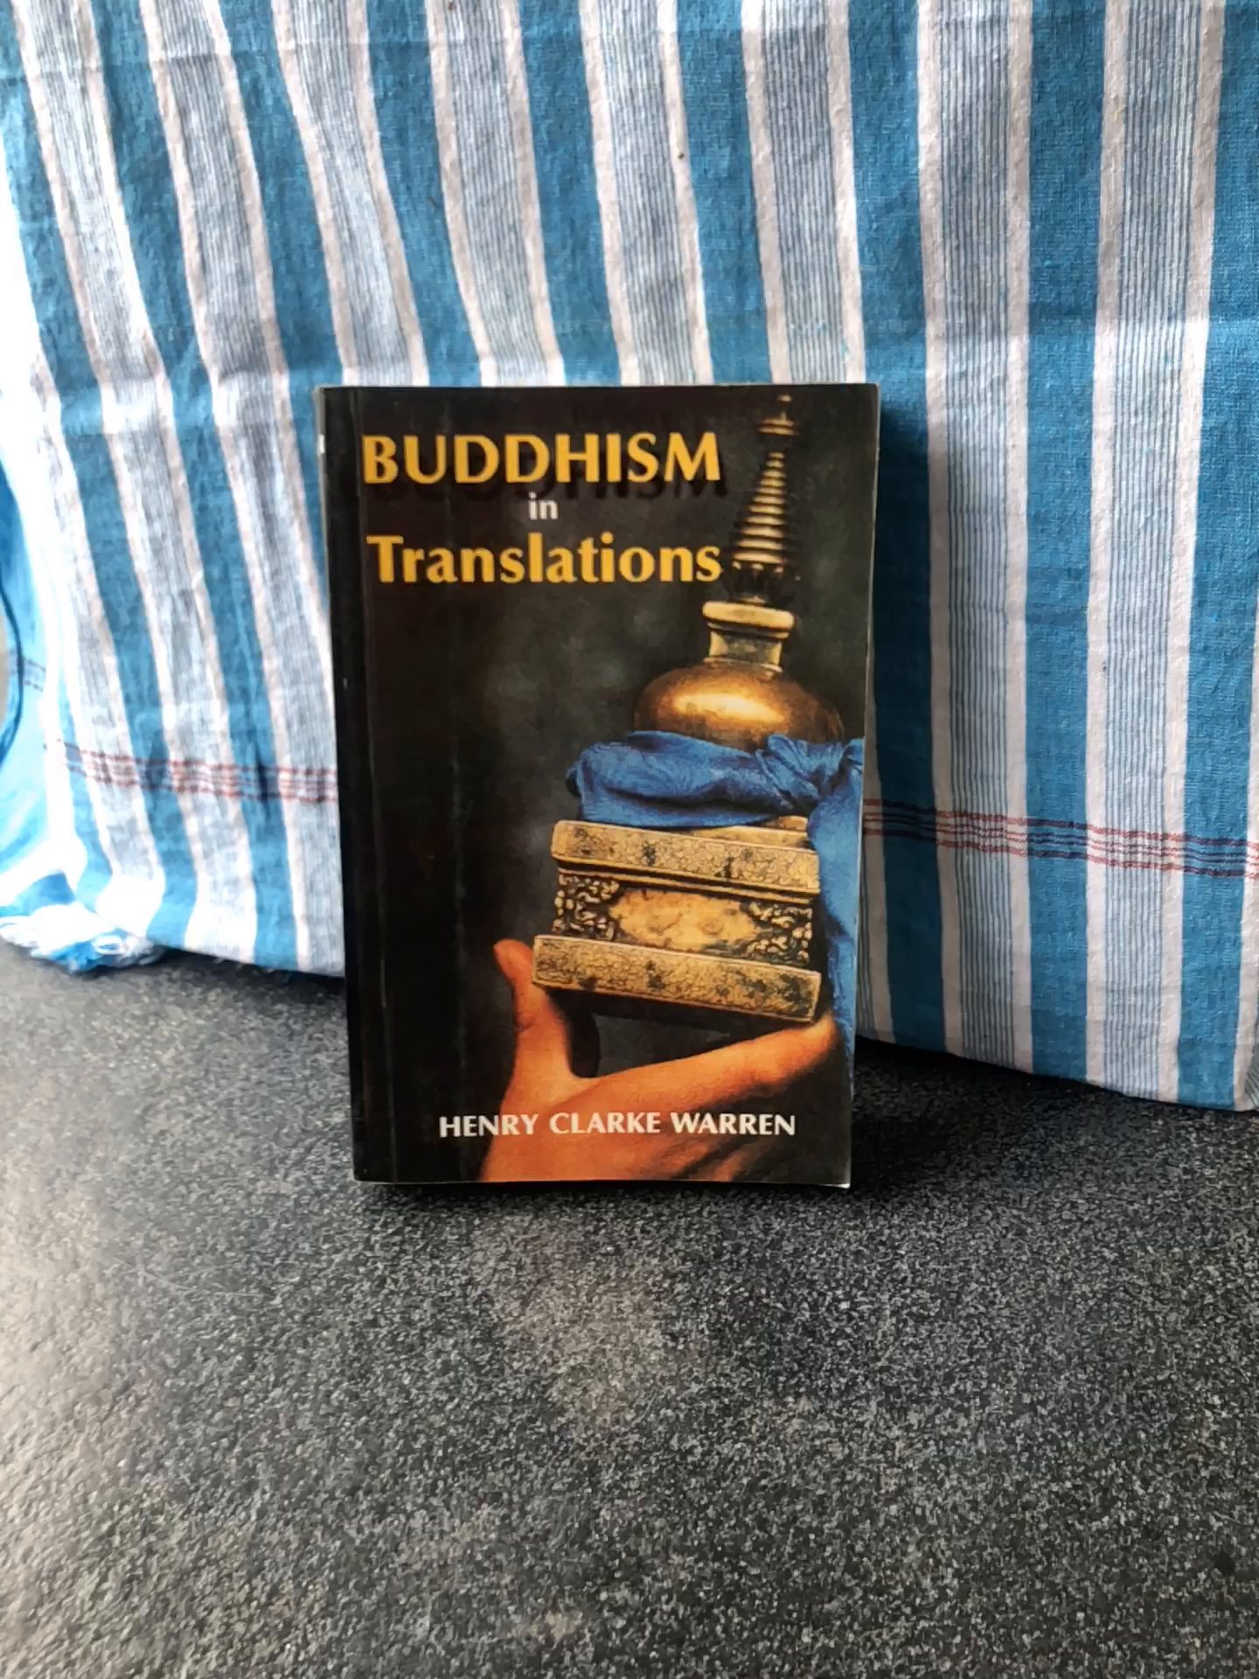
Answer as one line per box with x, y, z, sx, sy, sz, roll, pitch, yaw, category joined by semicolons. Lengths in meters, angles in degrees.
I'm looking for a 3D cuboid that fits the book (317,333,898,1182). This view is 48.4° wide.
-0.004;-0.020;0.373;0.140;0.210;0.050;0;6;2;book
